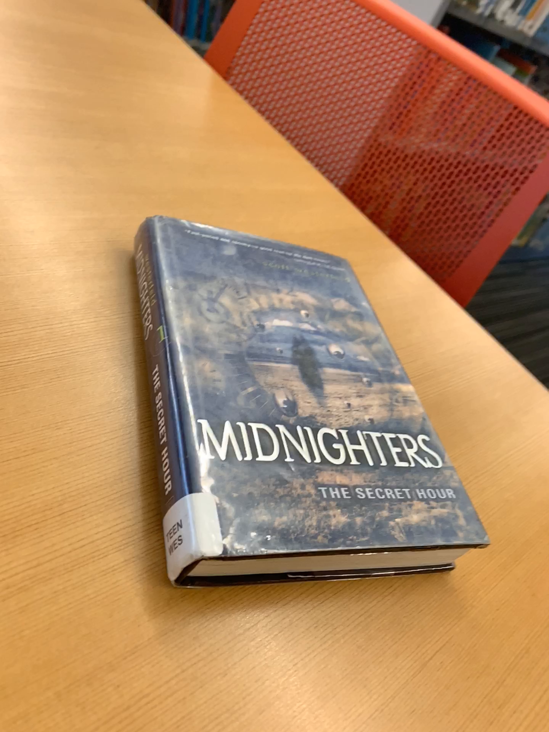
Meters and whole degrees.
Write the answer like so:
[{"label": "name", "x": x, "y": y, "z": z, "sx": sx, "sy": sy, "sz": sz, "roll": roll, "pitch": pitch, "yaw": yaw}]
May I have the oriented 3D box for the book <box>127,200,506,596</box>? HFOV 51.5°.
[{"label": "book", "x": 0.007, "y": 0.004, "z": 0.309, "sx": 0.150, "sy": 0.040, "sz": 0.215, "roll": 7, "pitch": 45, "yaw": -27}]
